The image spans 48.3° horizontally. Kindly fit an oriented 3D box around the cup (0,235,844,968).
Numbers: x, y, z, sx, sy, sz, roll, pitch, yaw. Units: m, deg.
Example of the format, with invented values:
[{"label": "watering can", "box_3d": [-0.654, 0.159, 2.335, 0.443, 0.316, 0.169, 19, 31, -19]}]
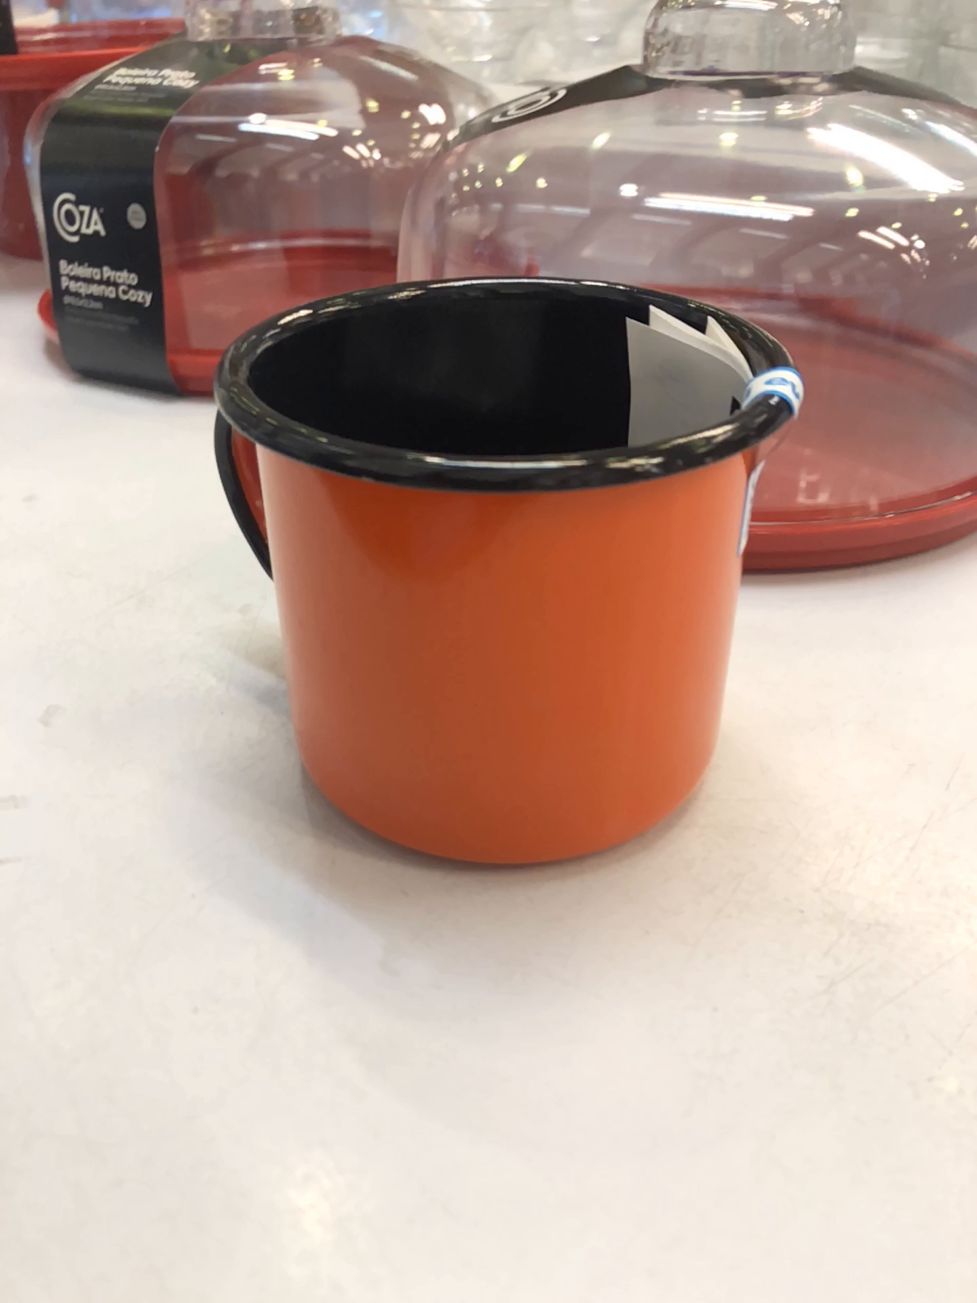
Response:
[{"label": "cup", "box_3d": [-0.013, -0.021, 0.190, 0.110, 0.069, 0.080, 23, 41, 32]}]
